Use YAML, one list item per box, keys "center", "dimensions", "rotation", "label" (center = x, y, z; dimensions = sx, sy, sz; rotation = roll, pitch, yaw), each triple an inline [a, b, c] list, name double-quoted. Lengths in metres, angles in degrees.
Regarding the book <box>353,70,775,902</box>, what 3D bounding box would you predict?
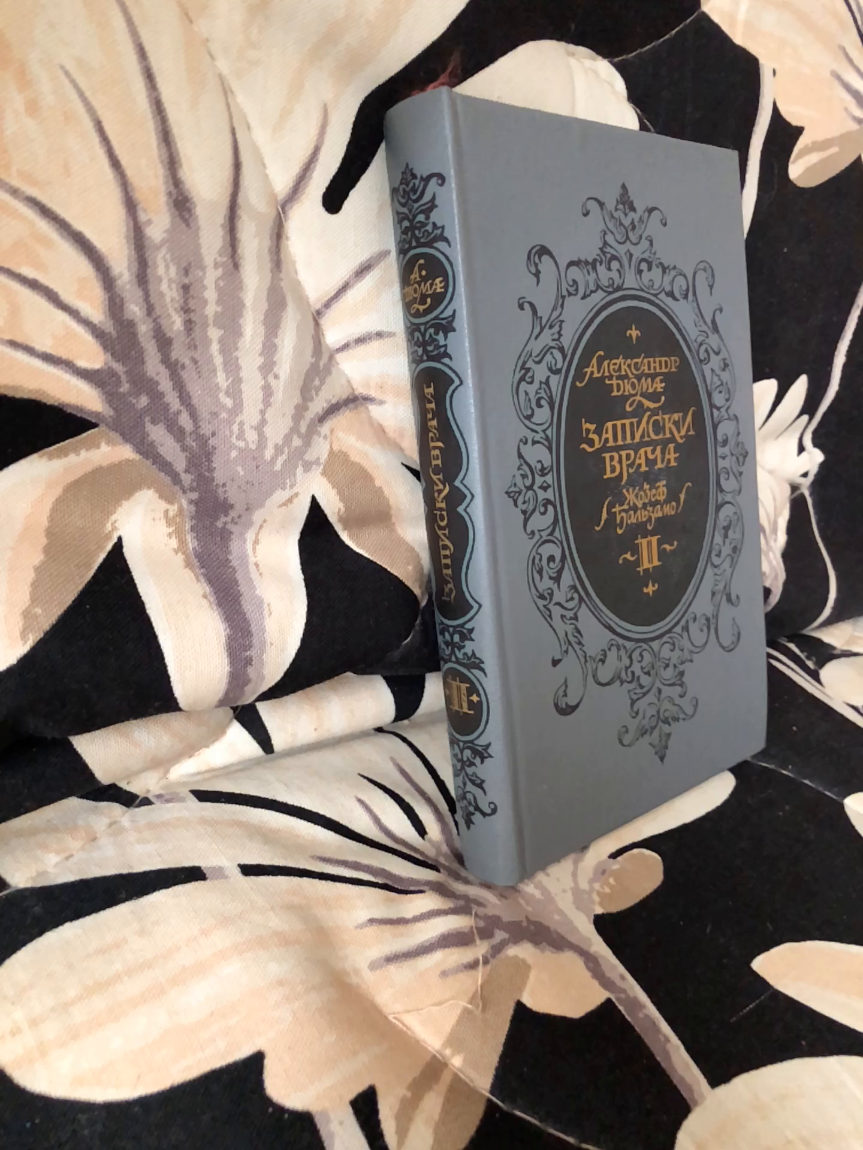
- center: [0.052, -0.029, 0.299]
  dimensions: [0.141, 0.030, 0.210]
  rotation: [-12, 100, -41]
  label: "book"
